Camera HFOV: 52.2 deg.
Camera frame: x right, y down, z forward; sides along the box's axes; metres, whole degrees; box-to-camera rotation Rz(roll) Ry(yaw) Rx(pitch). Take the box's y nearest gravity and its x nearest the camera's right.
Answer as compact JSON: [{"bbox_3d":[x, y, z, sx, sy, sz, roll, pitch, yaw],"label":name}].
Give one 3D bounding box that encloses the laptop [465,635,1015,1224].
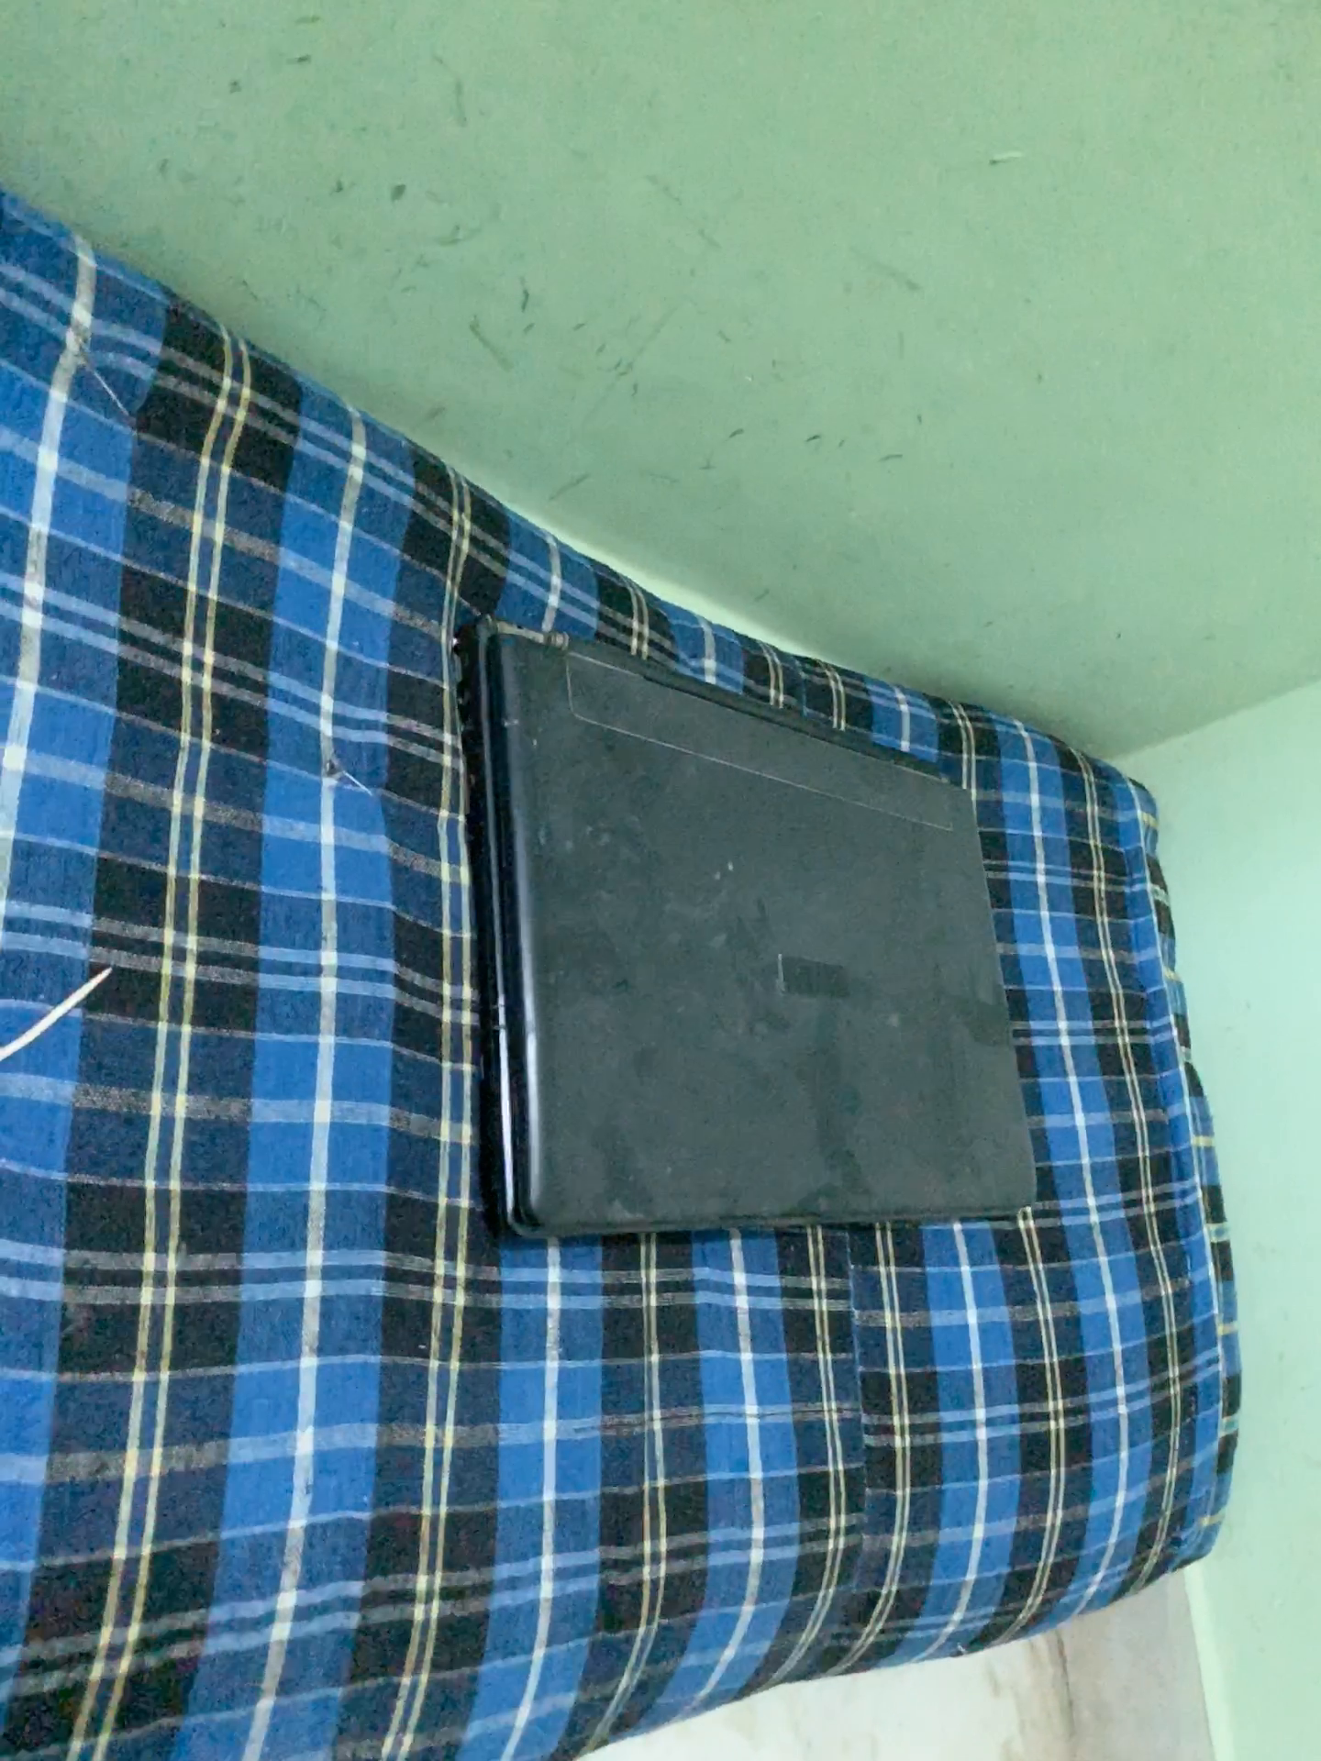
[{"bbox_3d":[0.052,0.032,0.594,0.325,0.005,0.216,10,68,-45],"label":"laptop"}]
